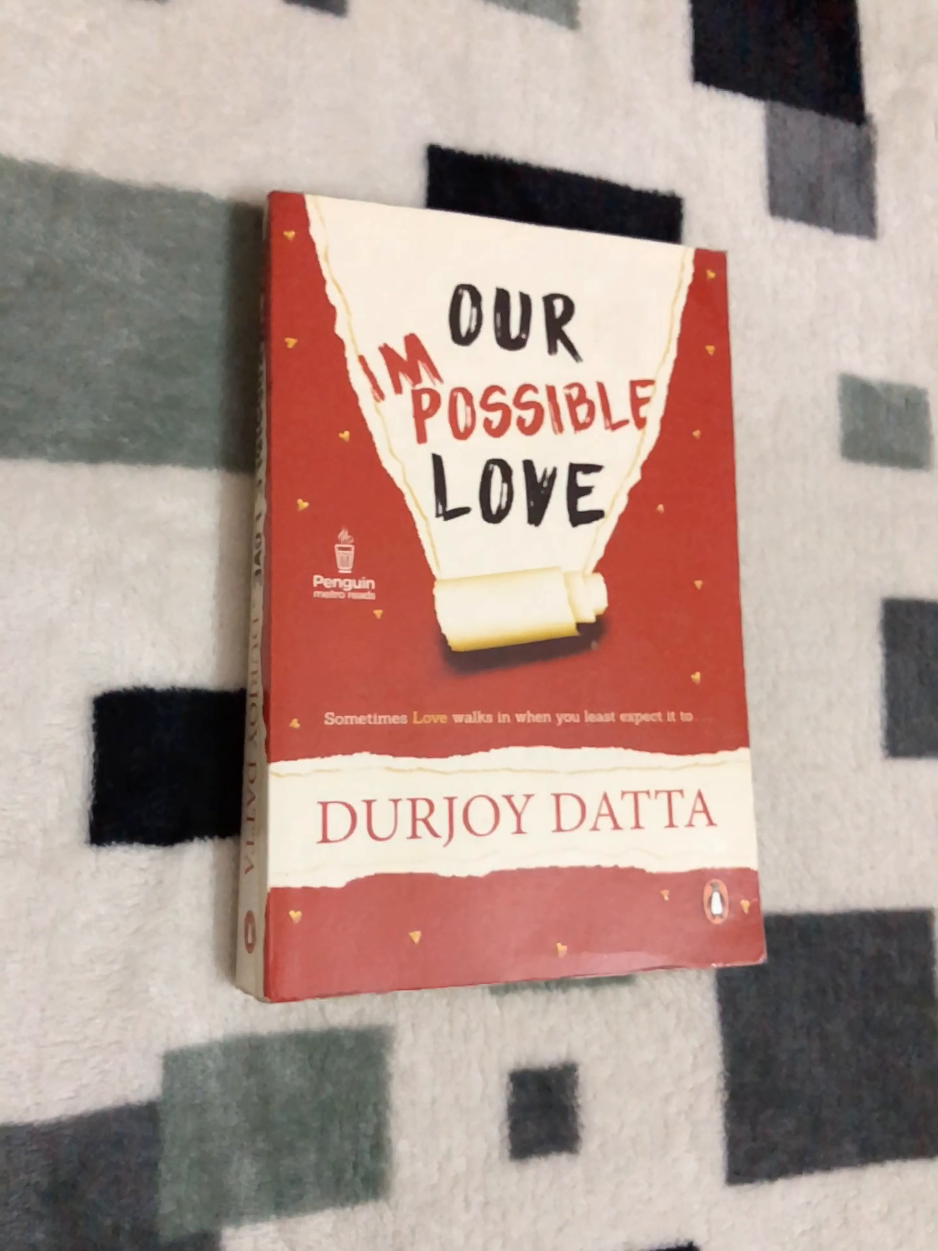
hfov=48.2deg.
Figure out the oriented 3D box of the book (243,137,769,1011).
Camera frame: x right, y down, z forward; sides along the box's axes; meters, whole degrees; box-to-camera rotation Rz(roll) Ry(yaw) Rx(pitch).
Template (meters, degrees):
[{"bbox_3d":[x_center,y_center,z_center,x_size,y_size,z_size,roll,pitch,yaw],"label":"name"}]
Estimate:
[{"bbox_3d":[0.011,-0.012,0.273,0.130,0.030,0.200,1,85,-18],"label":"book"}]
